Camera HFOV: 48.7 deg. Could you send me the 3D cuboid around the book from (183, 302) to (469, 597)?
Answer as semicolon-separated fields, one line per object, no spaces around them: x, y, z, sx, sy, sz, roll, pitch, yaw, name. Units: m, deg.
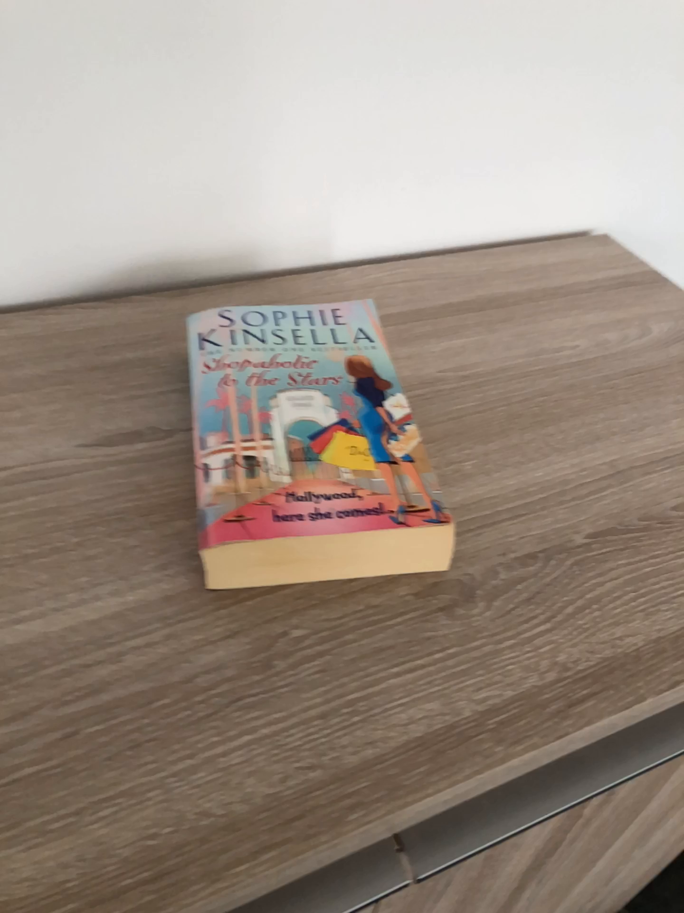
-0.022;-0.018;0.440;0.130;0.040;0.201;-3;43;-12;book
